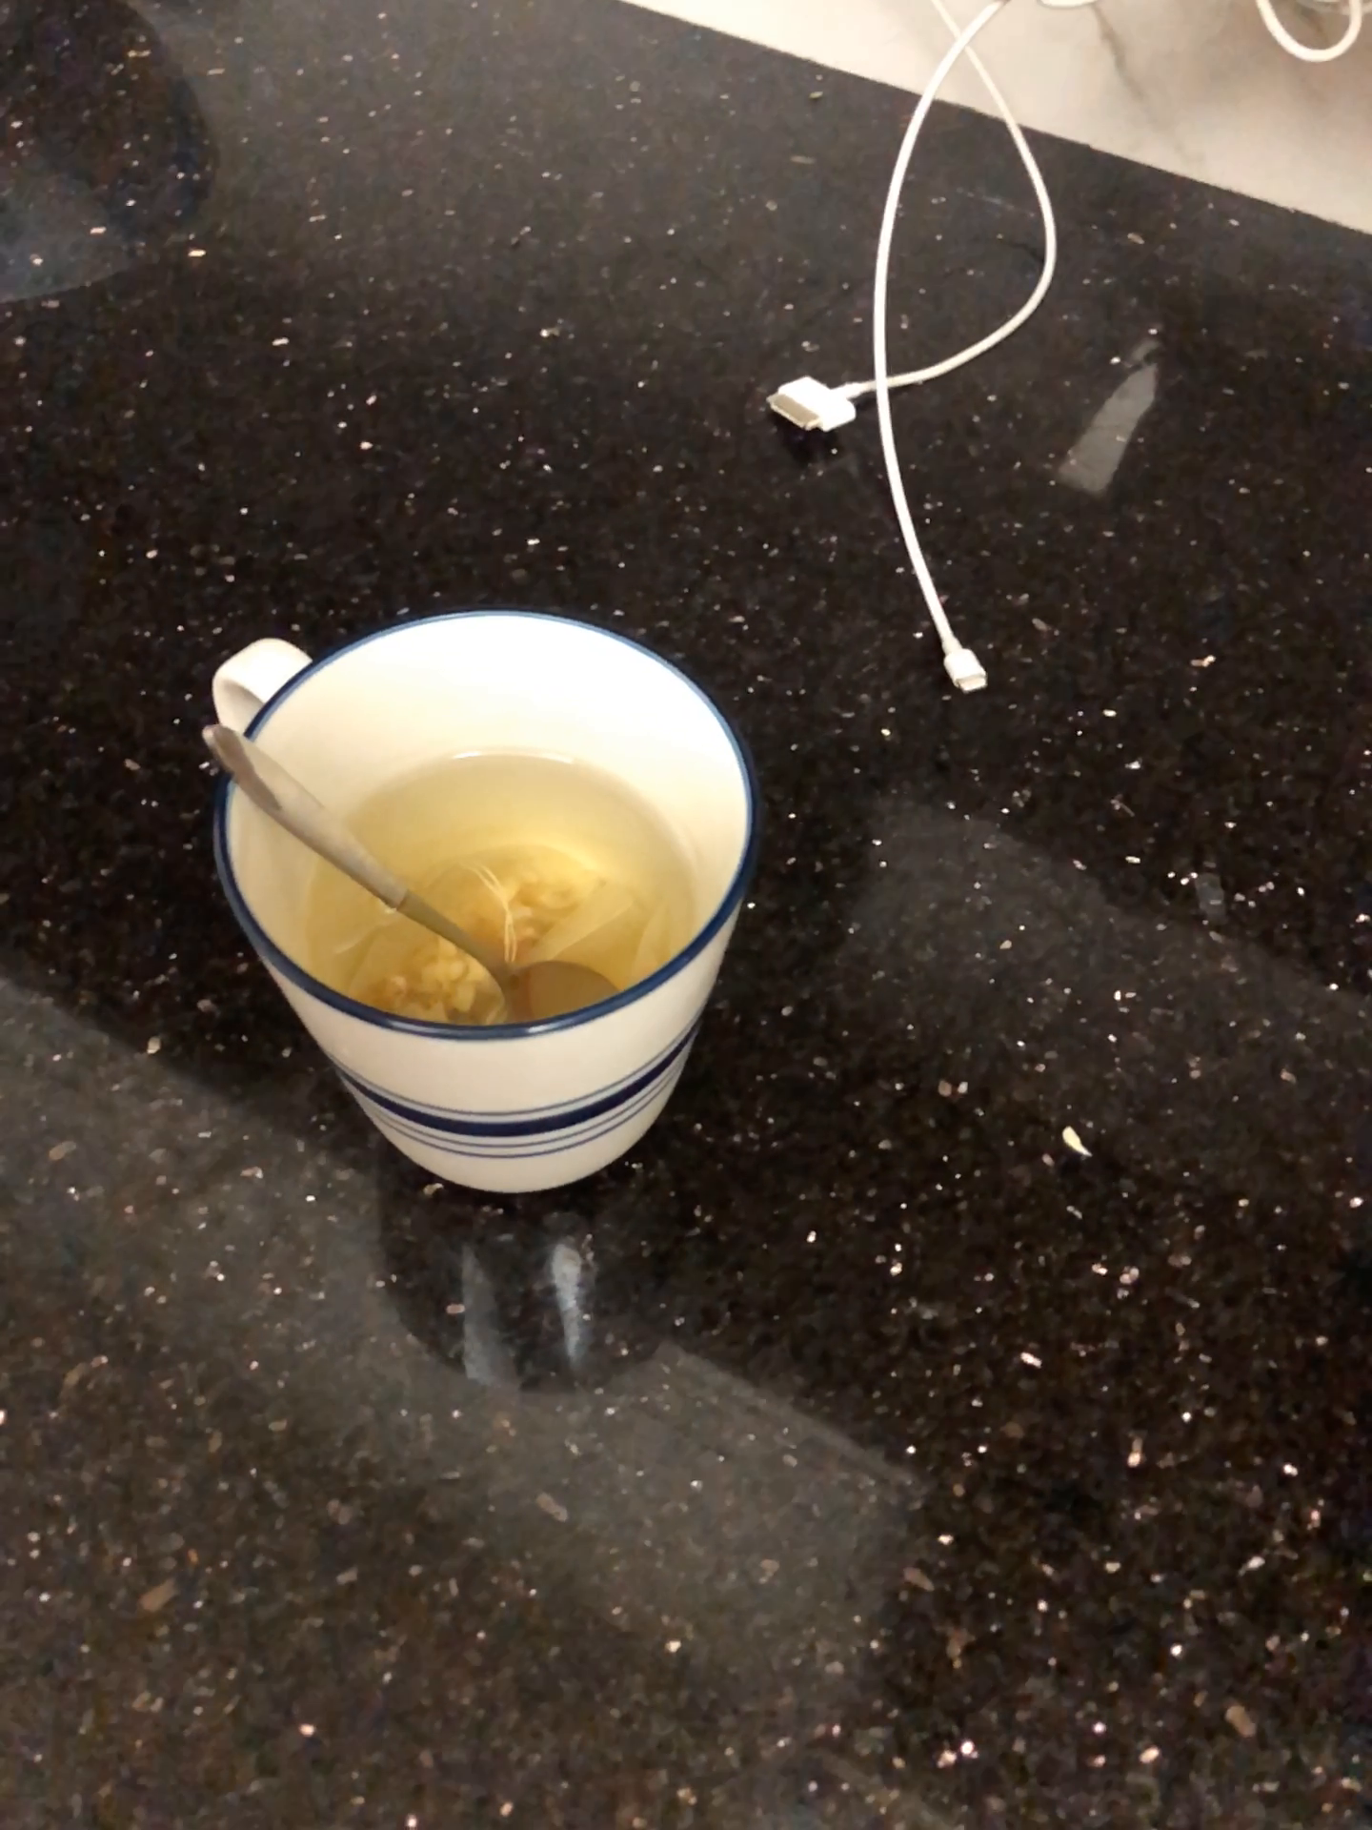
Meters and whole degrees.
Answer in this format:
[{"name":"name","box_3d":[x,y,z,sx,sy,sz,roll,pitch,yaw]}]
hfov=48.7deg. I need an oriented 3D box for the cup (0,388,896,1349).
[{"name":"cup","box_3d":[-0.042,-0.008,0.284,0.090,0.100,0.120,-36,66,-22]}]
